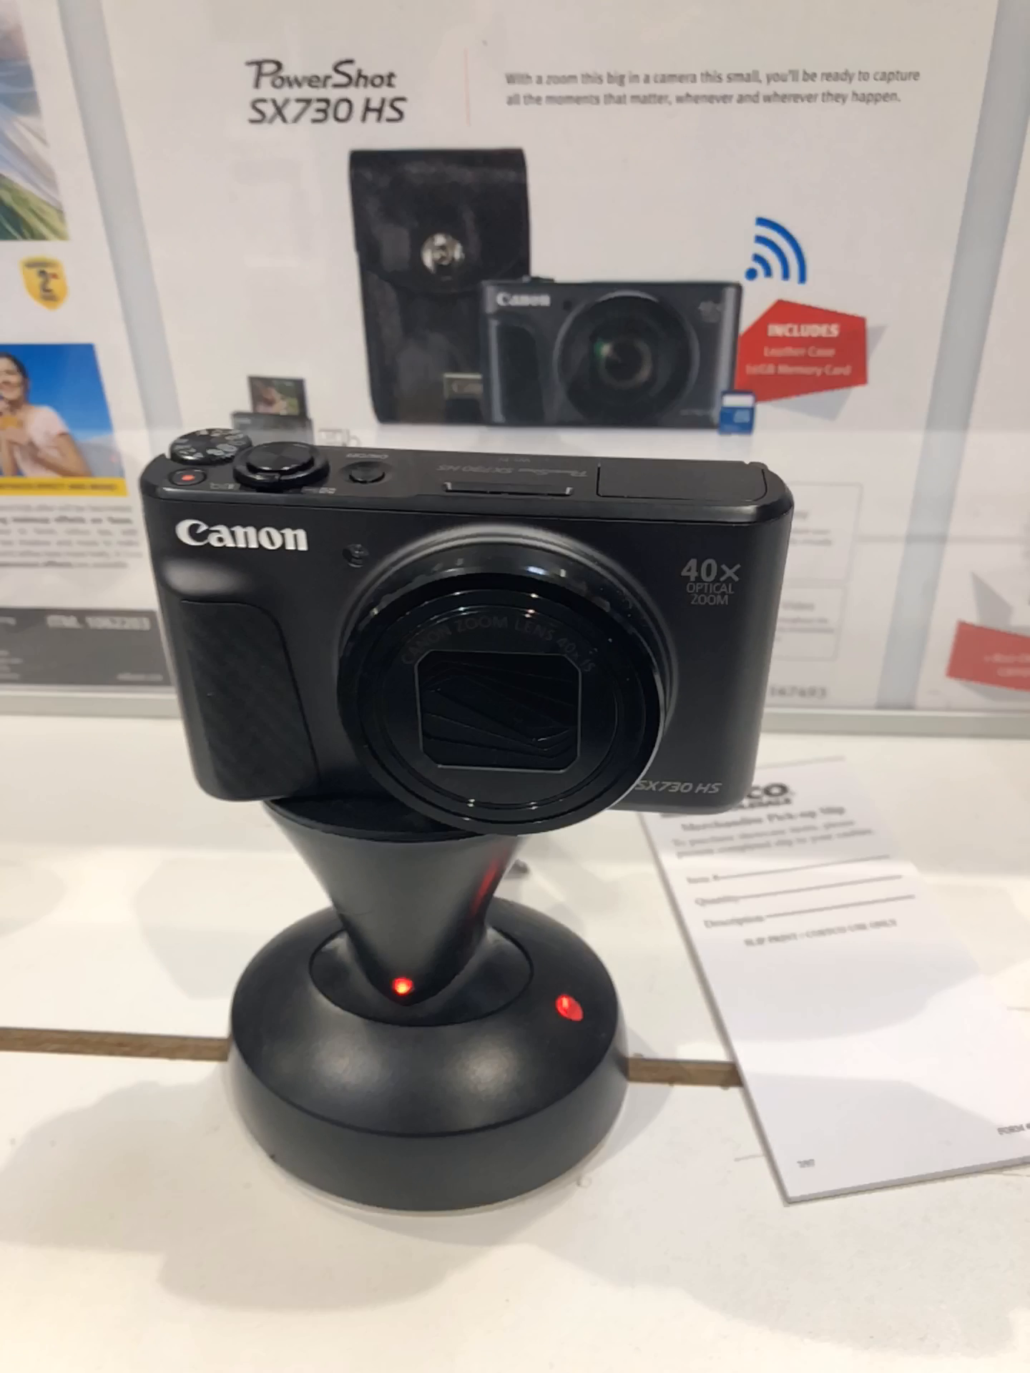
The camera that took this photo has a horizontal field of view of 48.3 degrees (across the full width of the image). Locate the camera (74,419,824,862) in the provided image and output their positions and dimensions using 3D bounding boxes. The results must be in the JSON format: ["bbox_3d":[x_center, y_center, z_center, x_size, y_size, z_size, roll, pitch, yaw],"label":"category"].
[{"bbox_3d":[-0.008,-0.009,0.199,0.110,0.060,0.040,3,34,7],"label":"camera"}]
